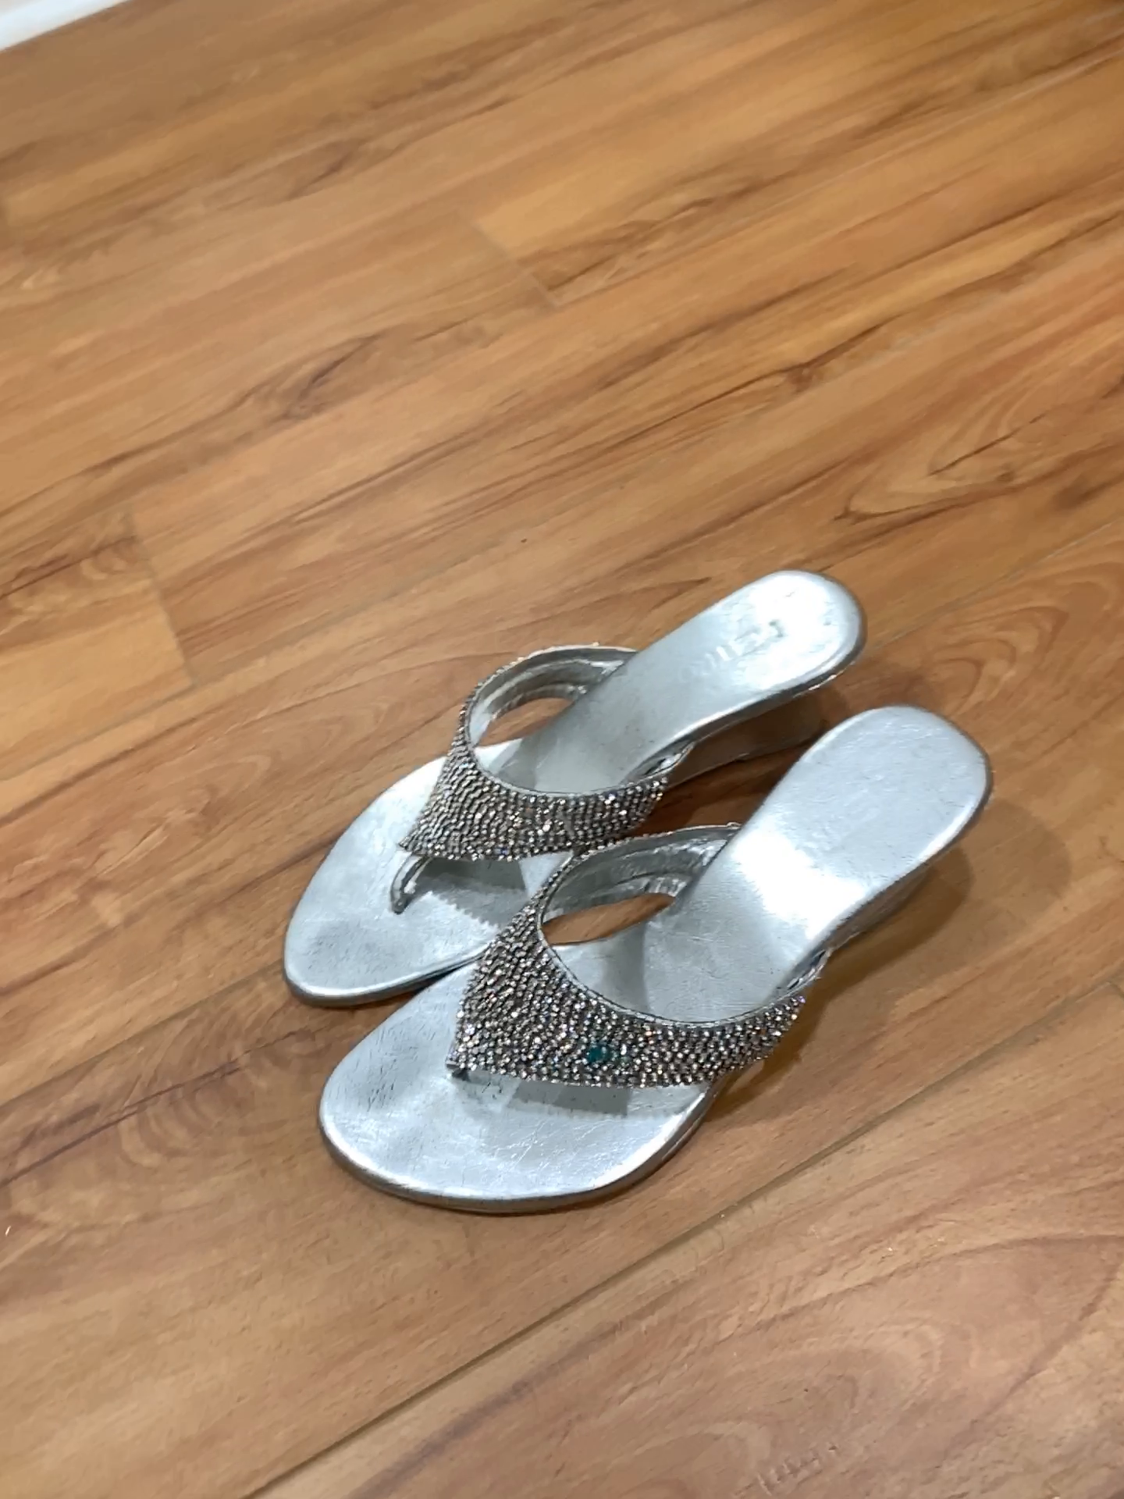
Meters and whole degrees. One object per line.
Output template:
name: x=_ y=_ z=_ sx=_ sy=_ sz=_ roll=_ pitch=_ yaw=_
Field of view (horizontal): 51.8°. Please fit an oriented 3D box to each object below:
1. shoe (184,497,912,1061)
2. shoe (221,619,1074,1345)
shoe: x=-0.002 y=0.007 z=0.407 sx=0.228 sy=0.073 sz=0.086 roll=-25 pitch=51 yaw=-7
shoe: x=0.028 y=0.065 z=0.357 sx=0.228 sy=0.073 sz=0.096 roll=-30 pitch=52 yaw=-11
